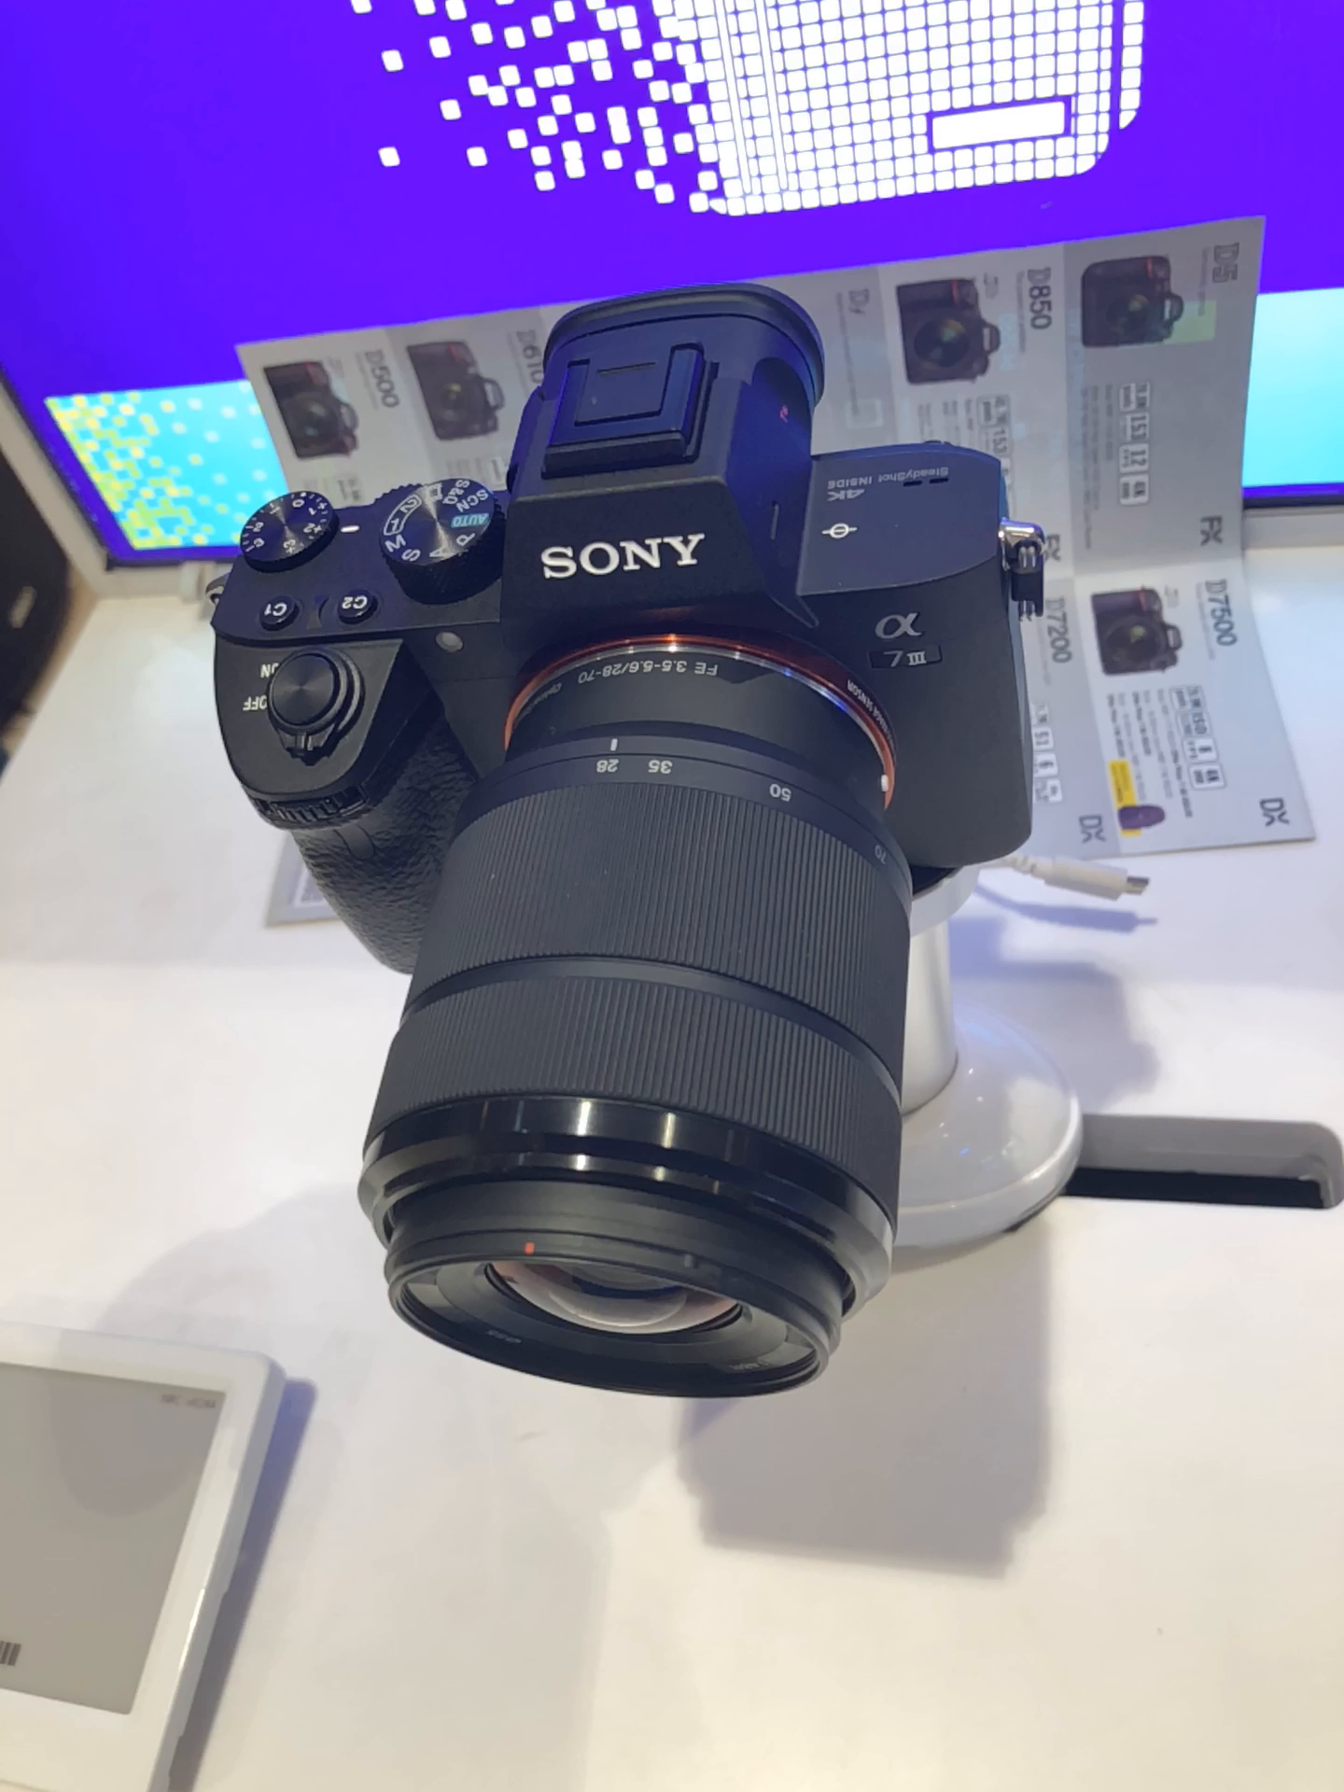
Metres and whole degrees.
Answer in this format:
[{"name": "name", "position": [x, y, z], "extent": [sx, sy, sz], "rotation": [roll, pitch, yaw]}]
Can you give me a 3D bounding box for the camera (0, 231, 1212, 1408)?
[{"name": "camera", "position": [0.003, -0.006, 0.225], "extent": [0.120, 0.109, 0.128], "rotation": [-3, 53, 10]}]
